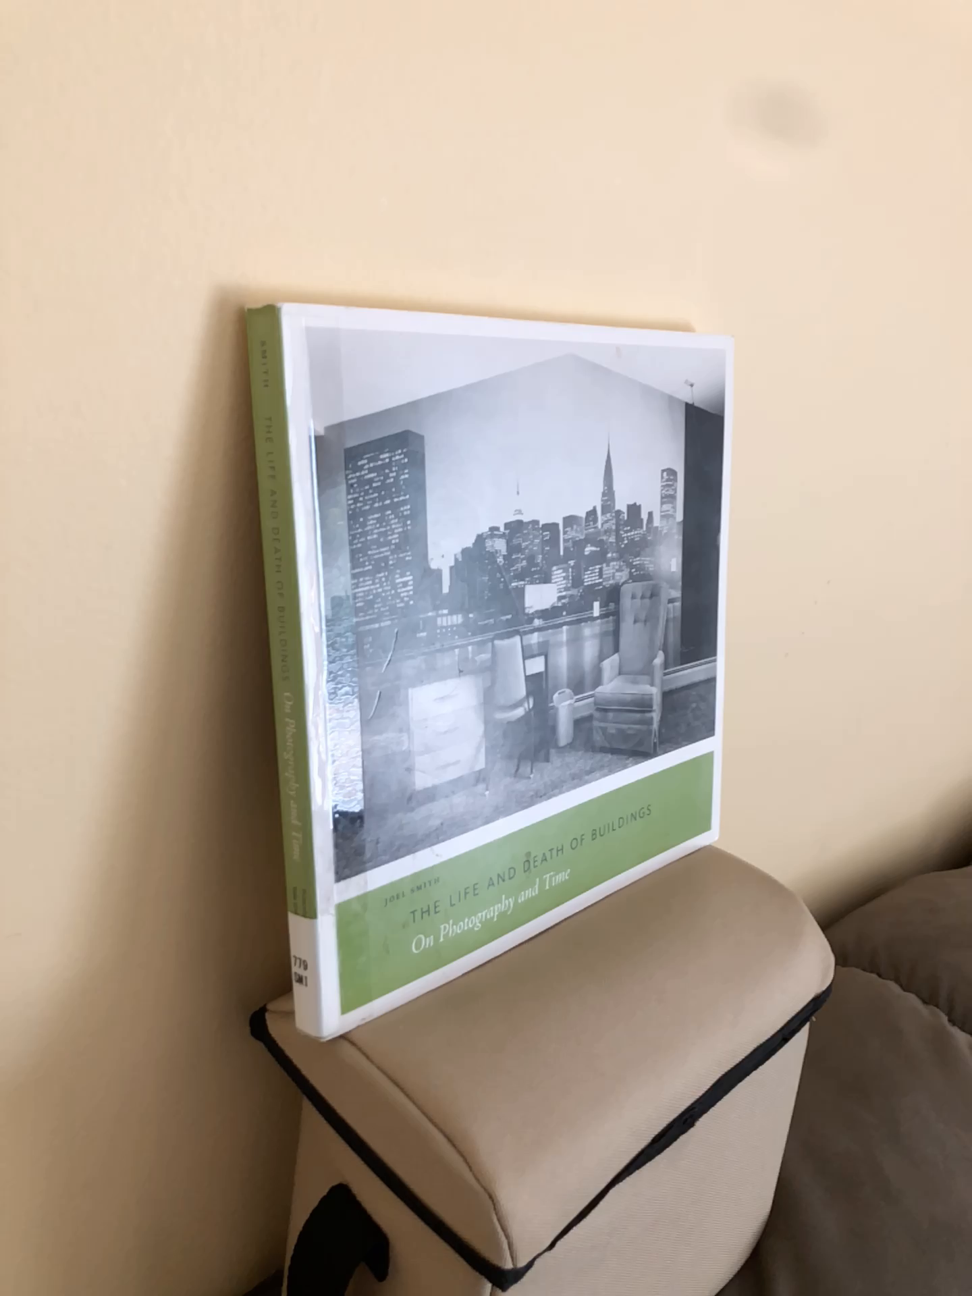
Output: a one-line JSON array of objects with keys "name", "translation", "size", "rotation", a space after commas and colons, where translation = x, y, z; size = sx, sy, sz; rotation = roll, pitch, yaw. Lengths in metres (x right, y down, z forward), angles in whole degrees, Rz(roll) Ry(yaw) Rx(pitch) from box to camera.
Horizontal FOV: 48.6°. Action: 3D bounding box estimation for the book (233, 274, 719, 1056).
[{"name": "book", "translation": [0.017, -0.007, 0.363], "size": [0.020, 0.204, 0.216], "rotation": [7, 13, 40]}]
